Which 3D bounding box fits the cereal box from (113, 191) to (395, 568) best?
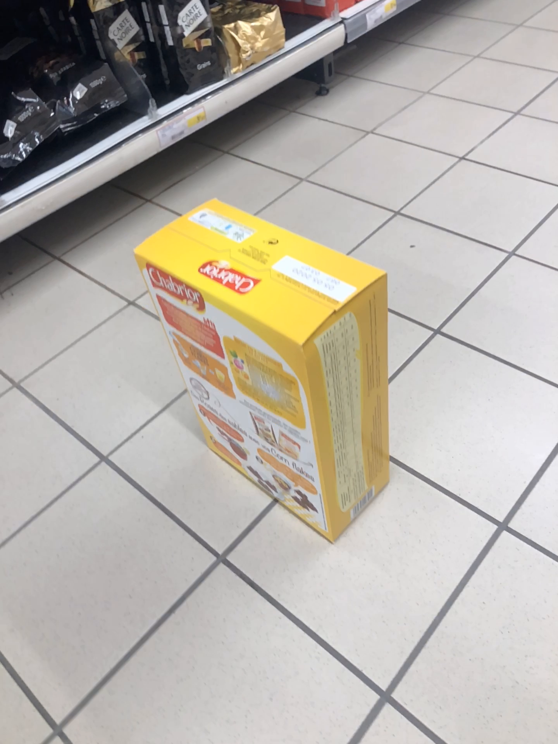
[{"bbox_3d":[-0.009,0.017,0.597,0.210,0.308,0.111,31,58,32],"label":"cereal box"}]
